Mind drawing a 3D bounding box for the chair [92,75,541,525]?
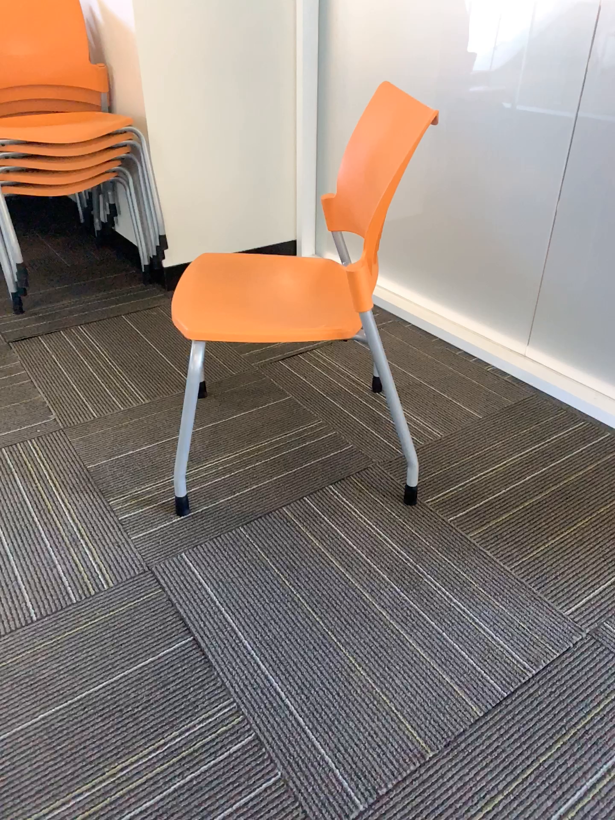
[{"bbox_3d":[-0.012,-0.289,1.447,0.680,0.795,0.684,-2,33,-5],"label":"chair"}]
